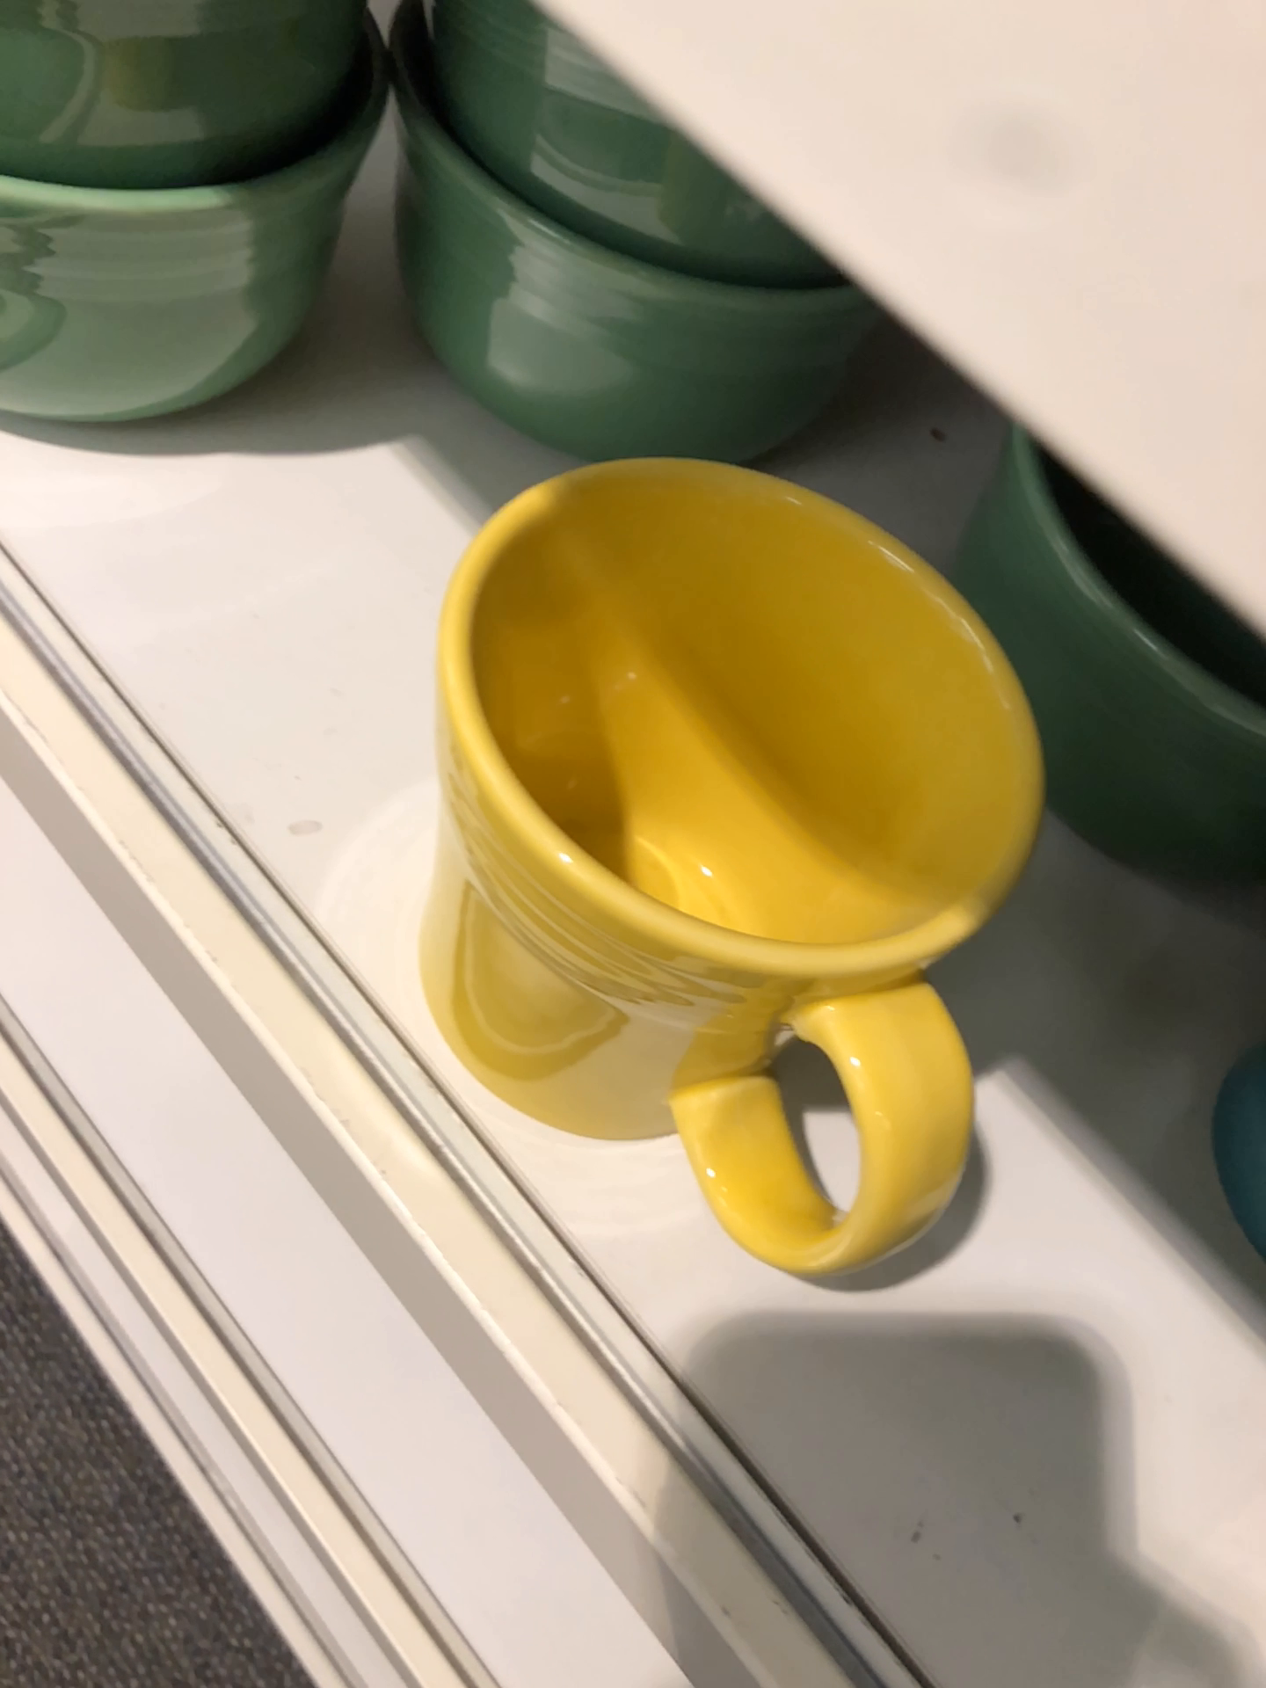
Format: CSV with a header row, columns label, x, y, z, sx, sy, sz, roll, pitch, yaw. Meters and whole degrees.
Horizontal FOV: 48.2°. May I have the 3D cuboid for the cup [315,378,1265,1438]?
label,x,y,z,sx,sy,sz,roll,pitch,yaw
cup,0.022,0.010,0.260,0.097,0.100,0.137,-26,69,-29
